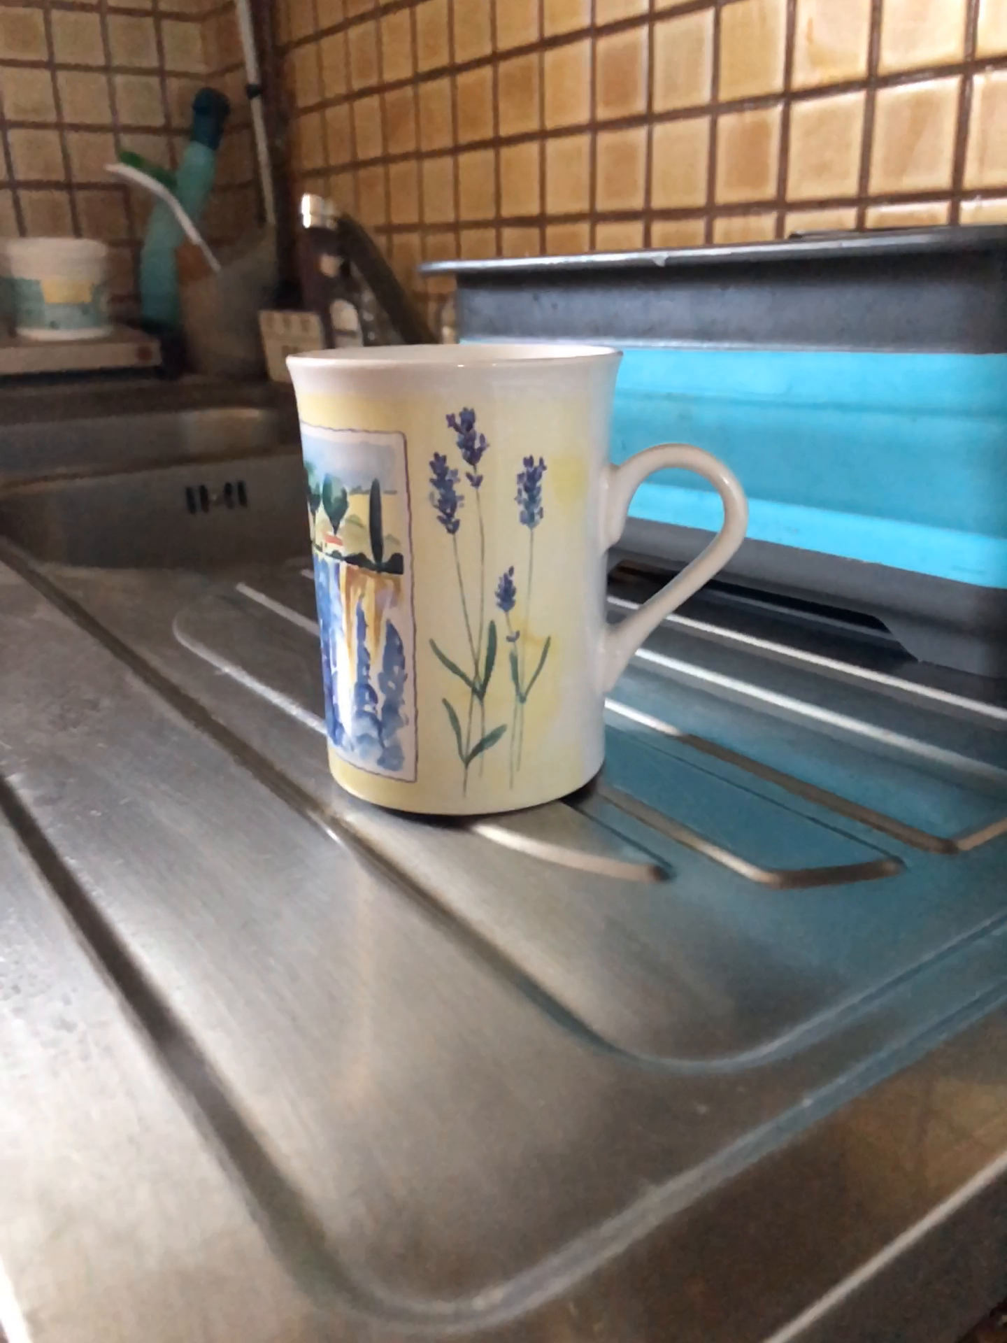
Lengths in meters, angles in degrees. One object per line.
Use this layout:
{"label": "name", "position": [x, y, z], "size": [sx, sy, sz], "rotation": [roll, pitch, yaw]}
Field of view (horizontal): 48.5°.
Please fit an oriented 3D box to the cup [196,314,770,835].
{"label": "cup", "position": [0.002, -0.027, 0.258], "size": [0.110, 0.100, 0.070], "rotation": [2, 20, 11]}
